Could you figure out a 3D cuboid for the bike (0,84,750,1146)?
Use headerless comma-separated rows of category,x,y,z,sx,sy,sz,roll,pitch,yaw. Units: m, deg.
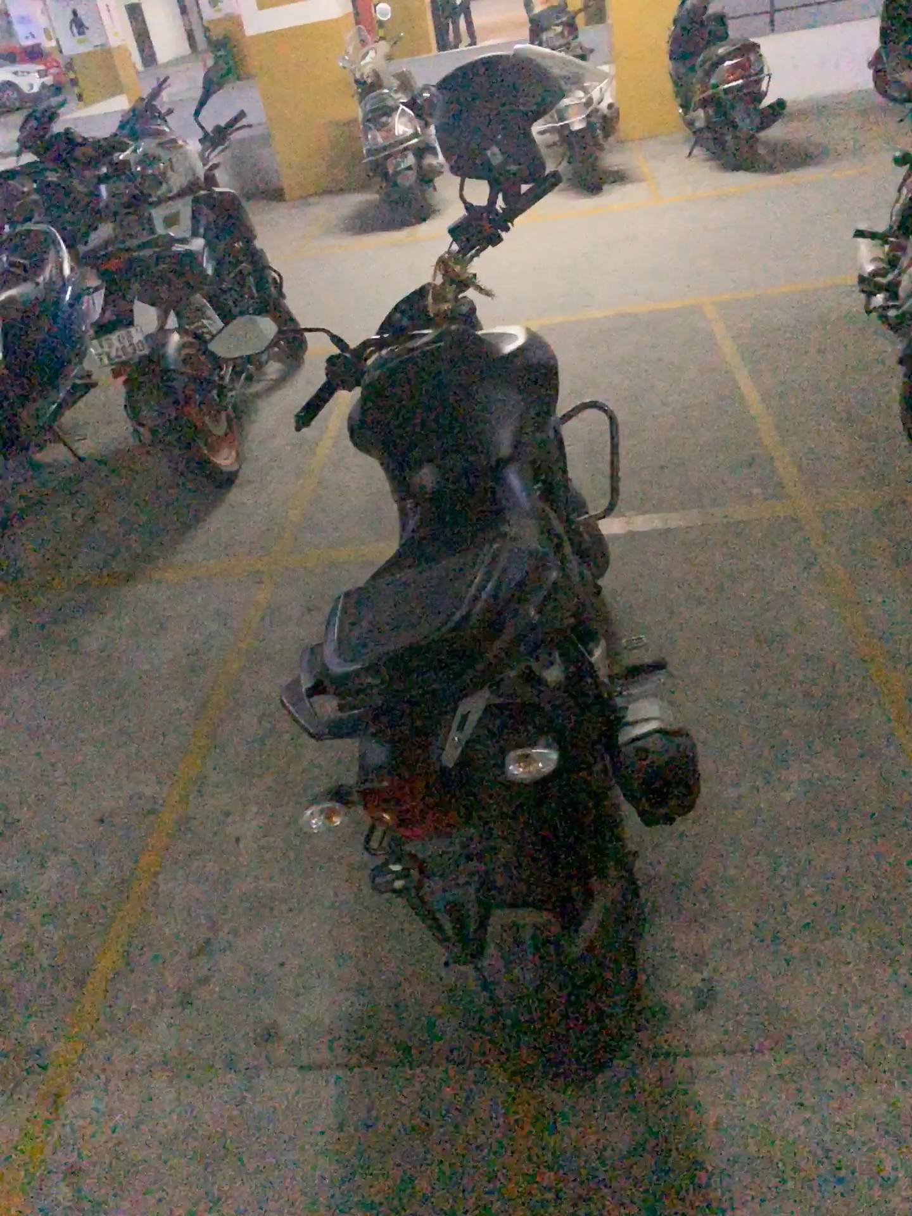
bike,-0.153,-0.178,1.807,0.785,1.097,1.744,-10,37,1
